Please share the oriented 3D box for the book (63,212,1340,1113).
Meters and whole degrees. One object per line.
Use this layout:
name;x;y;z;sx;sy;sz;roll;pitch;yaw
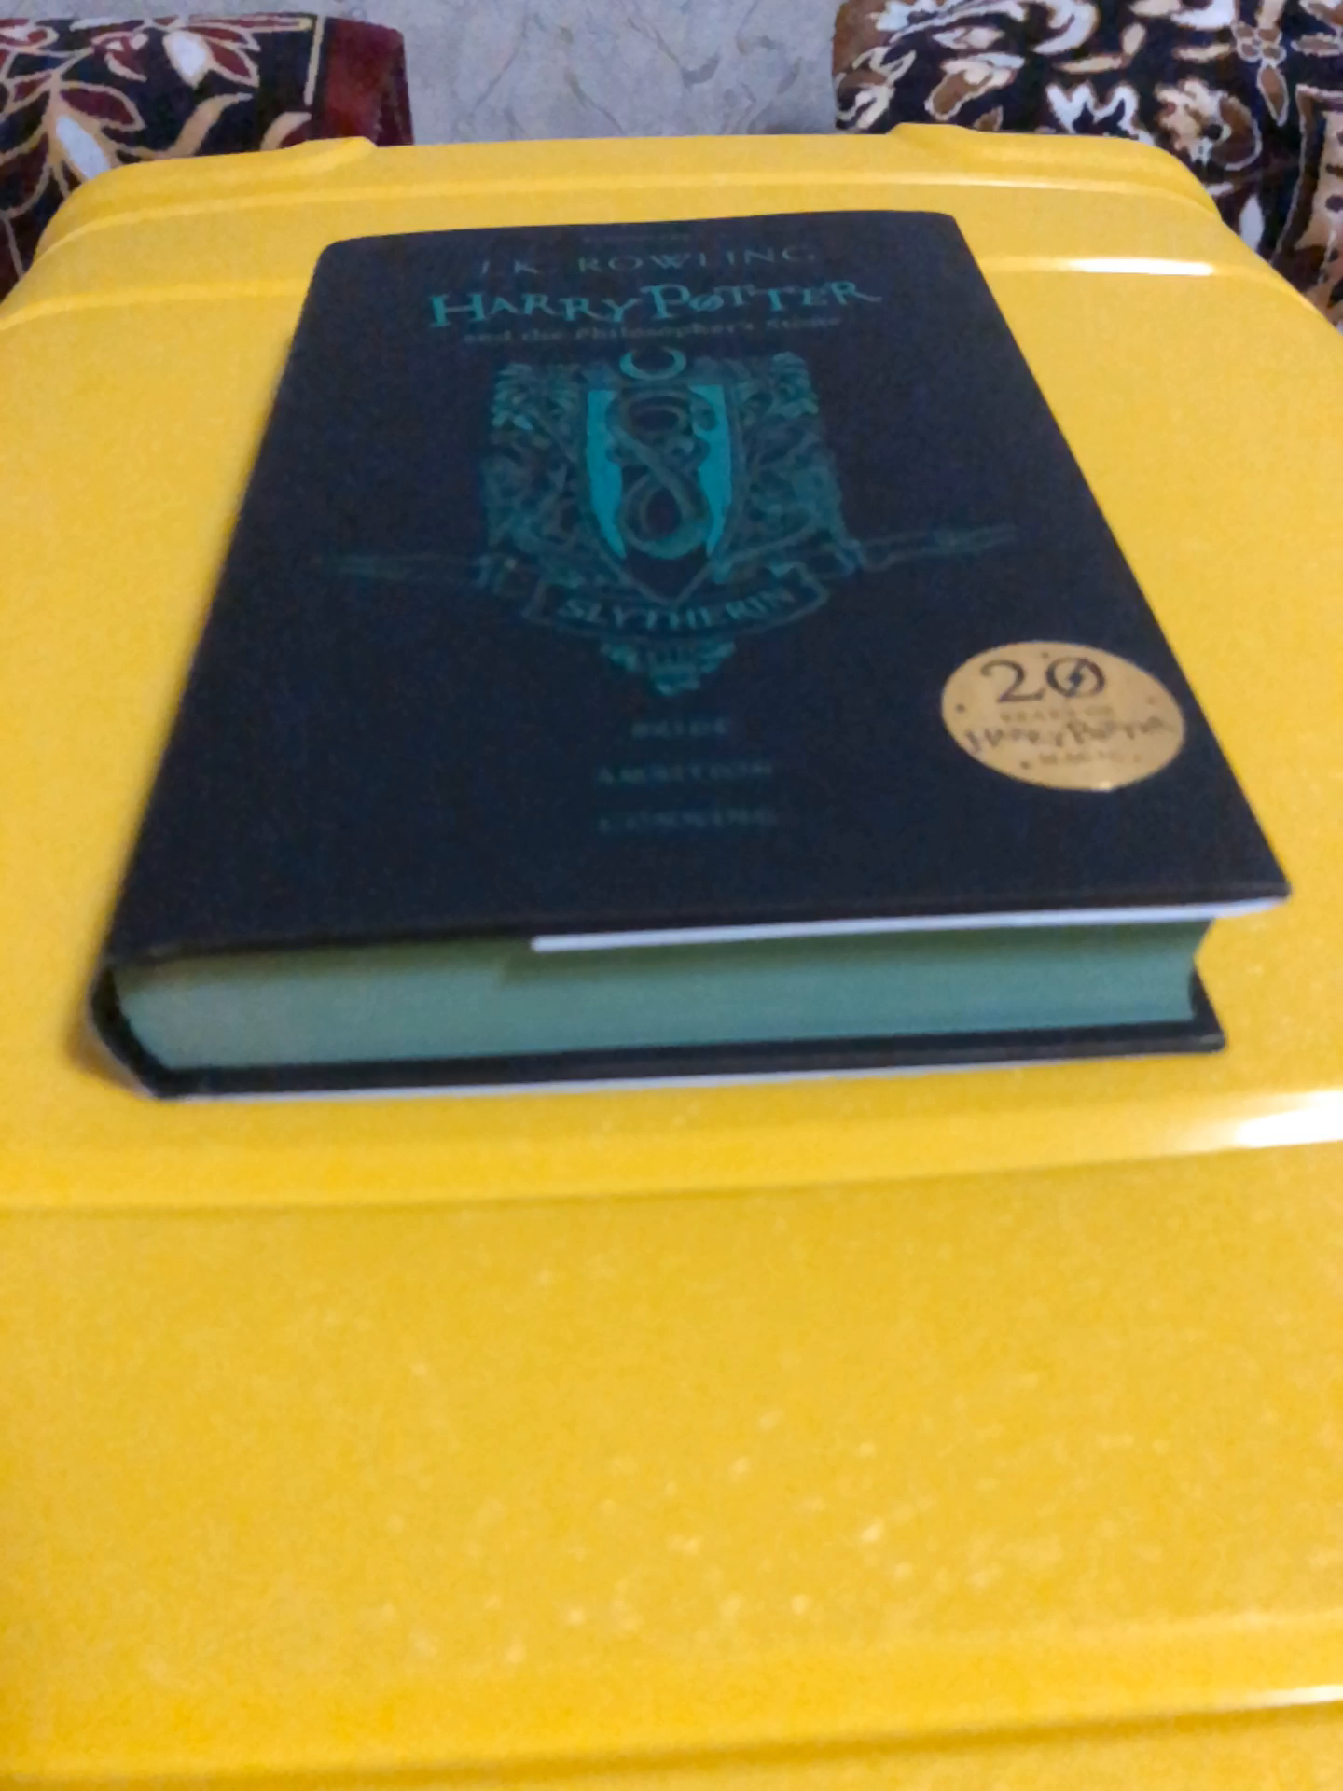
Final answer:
book;-0.001;-0.058;0.242;0.136;0.030;0.206;-2;44;-2
